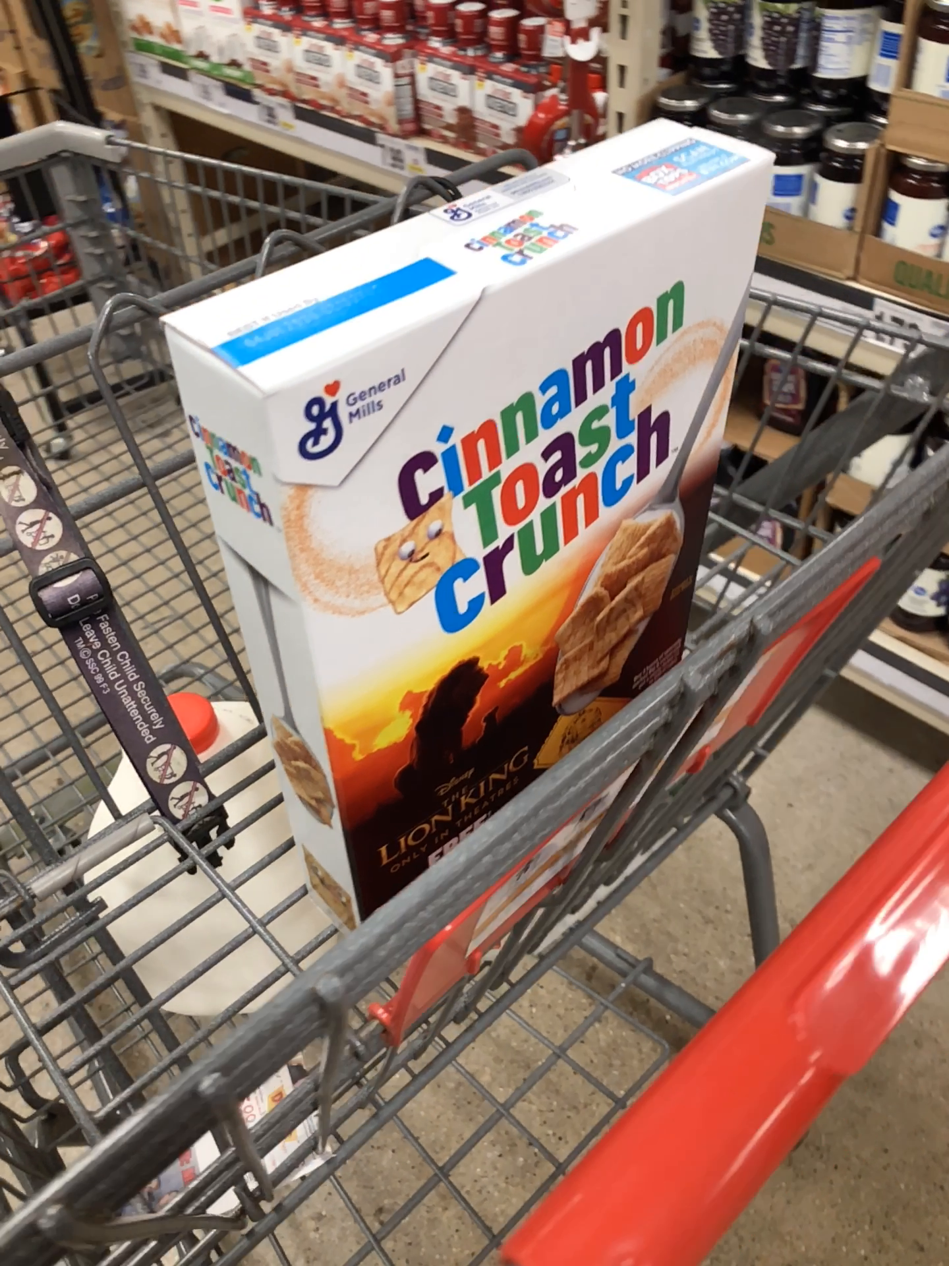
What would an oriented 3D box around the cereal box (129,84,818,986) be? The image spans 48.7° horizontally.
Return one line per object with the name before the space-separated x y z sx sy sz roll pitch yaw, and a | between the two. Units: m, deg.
cereal box | 0.012 -0.014 0.406 0.210 0.309 0.050 -33 55 -26
